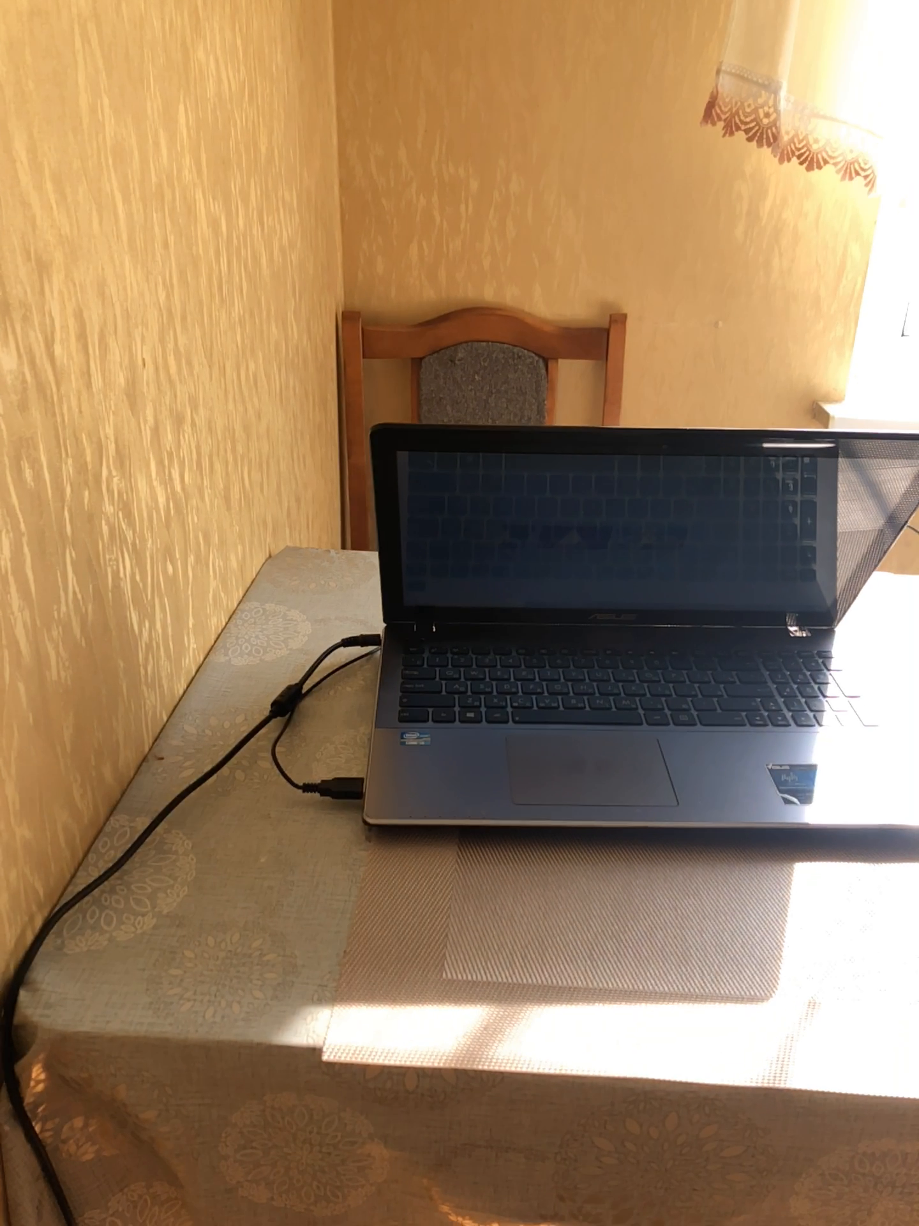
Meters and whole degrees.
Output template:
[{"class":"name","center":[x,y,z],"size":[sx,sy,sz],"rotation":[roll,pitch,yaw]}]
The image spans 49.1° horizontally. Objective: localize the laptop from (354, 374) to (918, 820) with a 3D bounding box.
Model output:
[{"class":"laptop","center":[0.124,-0.024,0.655],"size":[0.362,0.200,0.245],"rotation":[0,26,-1]}]
